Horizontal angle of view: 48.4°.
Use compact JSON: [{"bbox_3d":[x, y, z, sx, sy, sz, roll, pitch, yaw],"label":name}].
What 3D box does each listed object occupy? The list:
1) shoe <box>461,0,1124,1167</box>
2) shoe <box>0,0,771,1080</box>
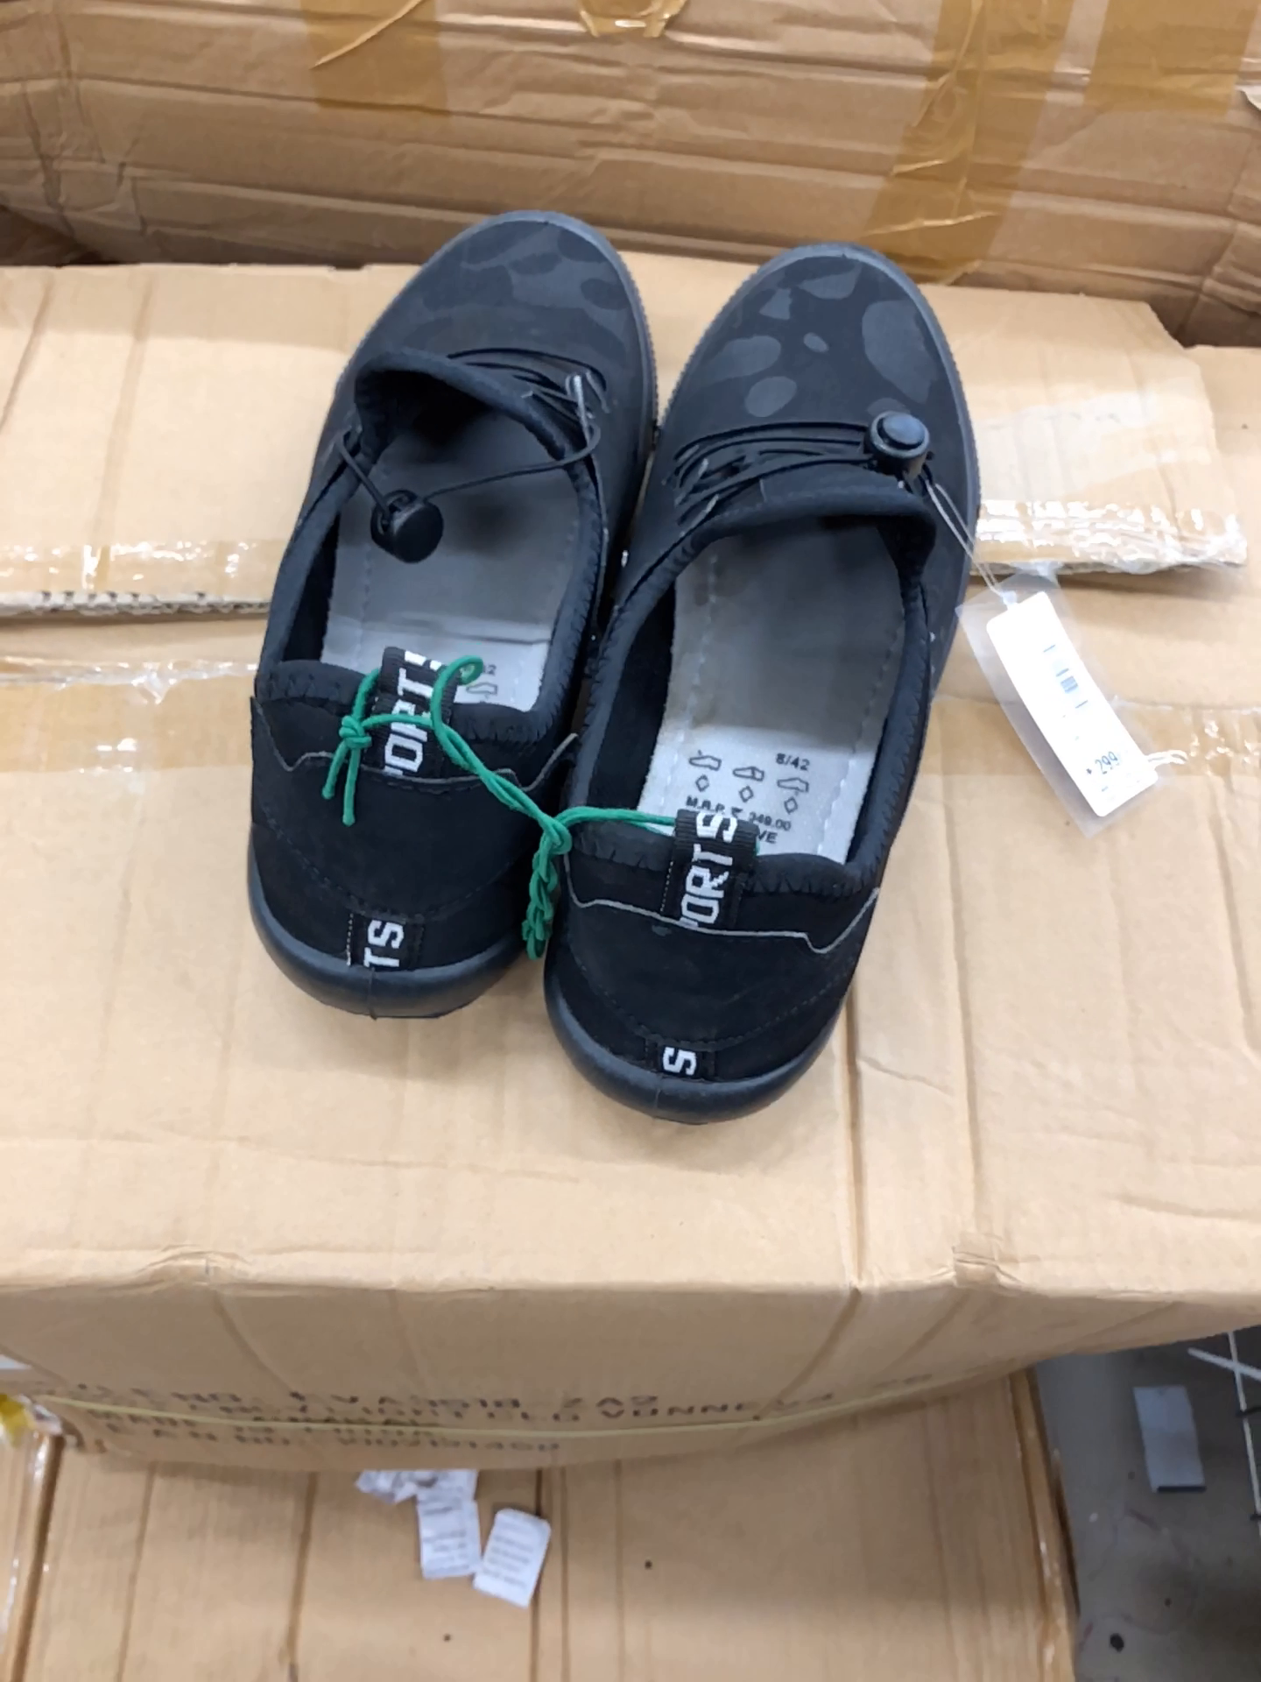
[{"bbox_3d":[0.049,-0.095,0.385,0.120,0.129,0.322,9,61,1],"label":"shoe"},{"bbox_3d":[-0.043,-0.112,0.385,0.120,0.129,0.312,8,61,1],"label":"shoe"}]
